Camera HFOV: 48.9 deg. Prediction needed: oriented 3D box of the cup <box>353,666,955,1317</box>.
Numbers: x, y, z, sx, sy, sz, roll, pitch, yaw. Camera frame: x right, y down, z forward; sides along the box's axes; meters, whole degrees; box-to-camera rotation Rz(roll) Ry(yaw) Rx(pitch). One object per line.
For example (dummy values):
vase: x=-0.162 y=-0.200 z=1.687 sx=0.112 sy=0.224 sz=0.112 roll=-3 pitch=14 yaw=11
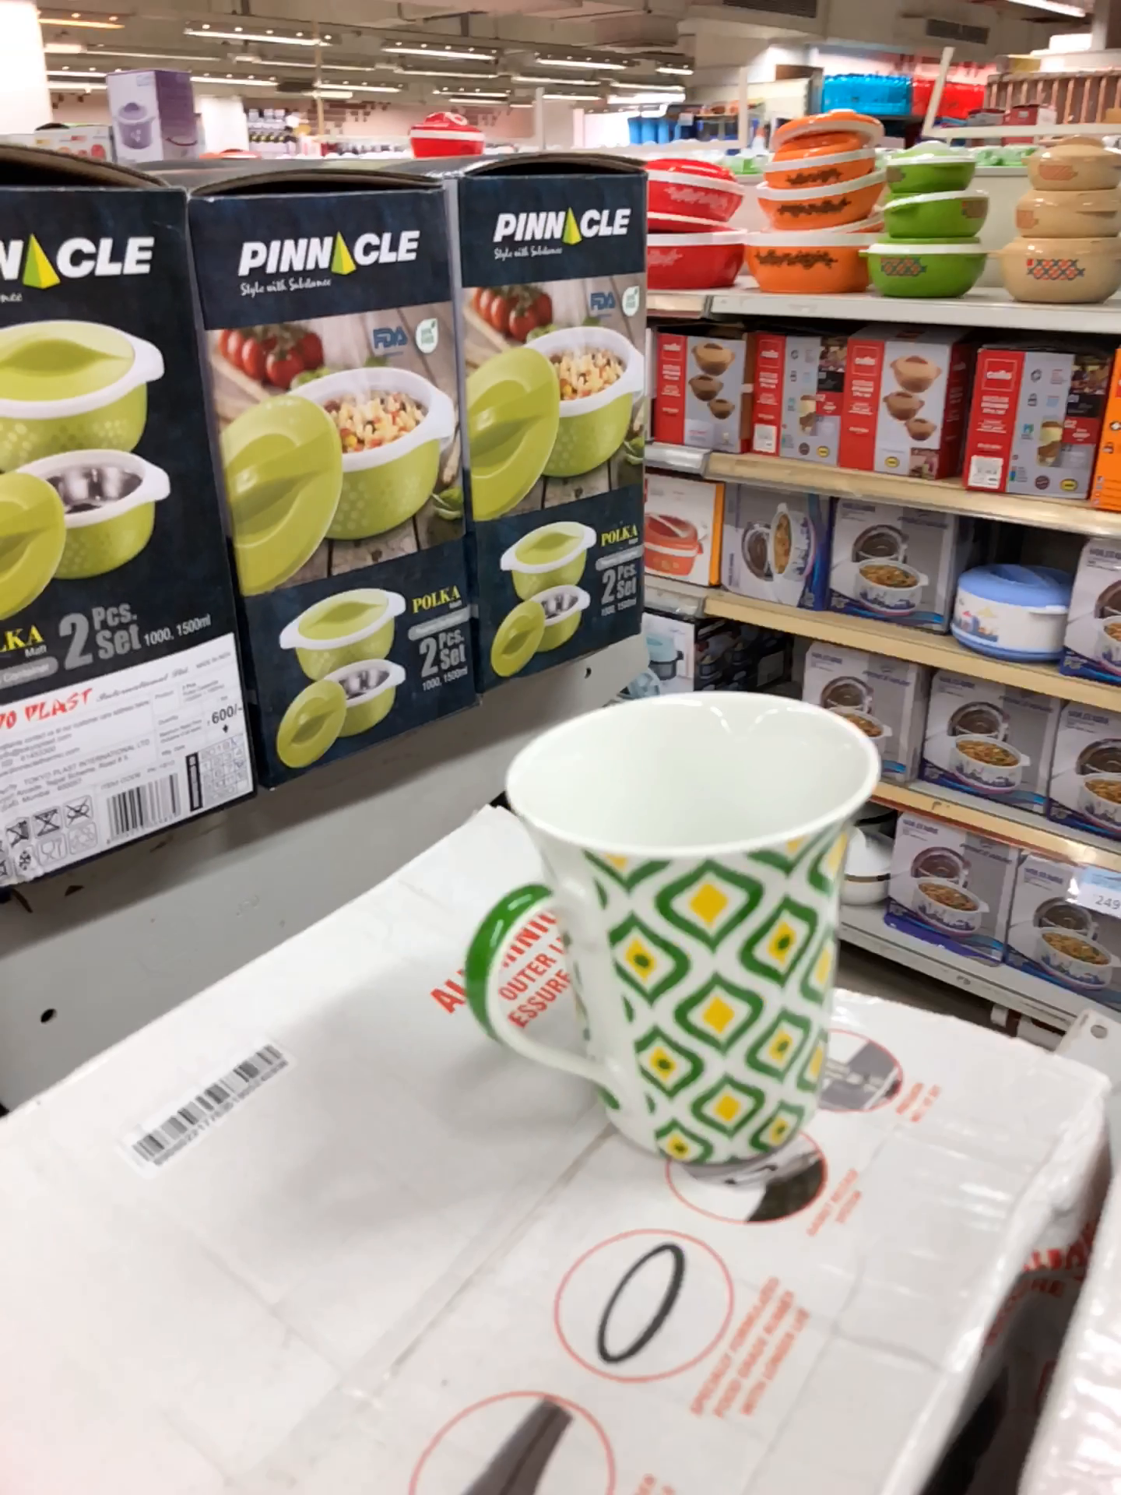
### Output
cup: x=0.028 y=0.045 z=0.294 sx=0.090 sy=0.090 sz=0.111 roll=11 pitch=27 yaw=37
